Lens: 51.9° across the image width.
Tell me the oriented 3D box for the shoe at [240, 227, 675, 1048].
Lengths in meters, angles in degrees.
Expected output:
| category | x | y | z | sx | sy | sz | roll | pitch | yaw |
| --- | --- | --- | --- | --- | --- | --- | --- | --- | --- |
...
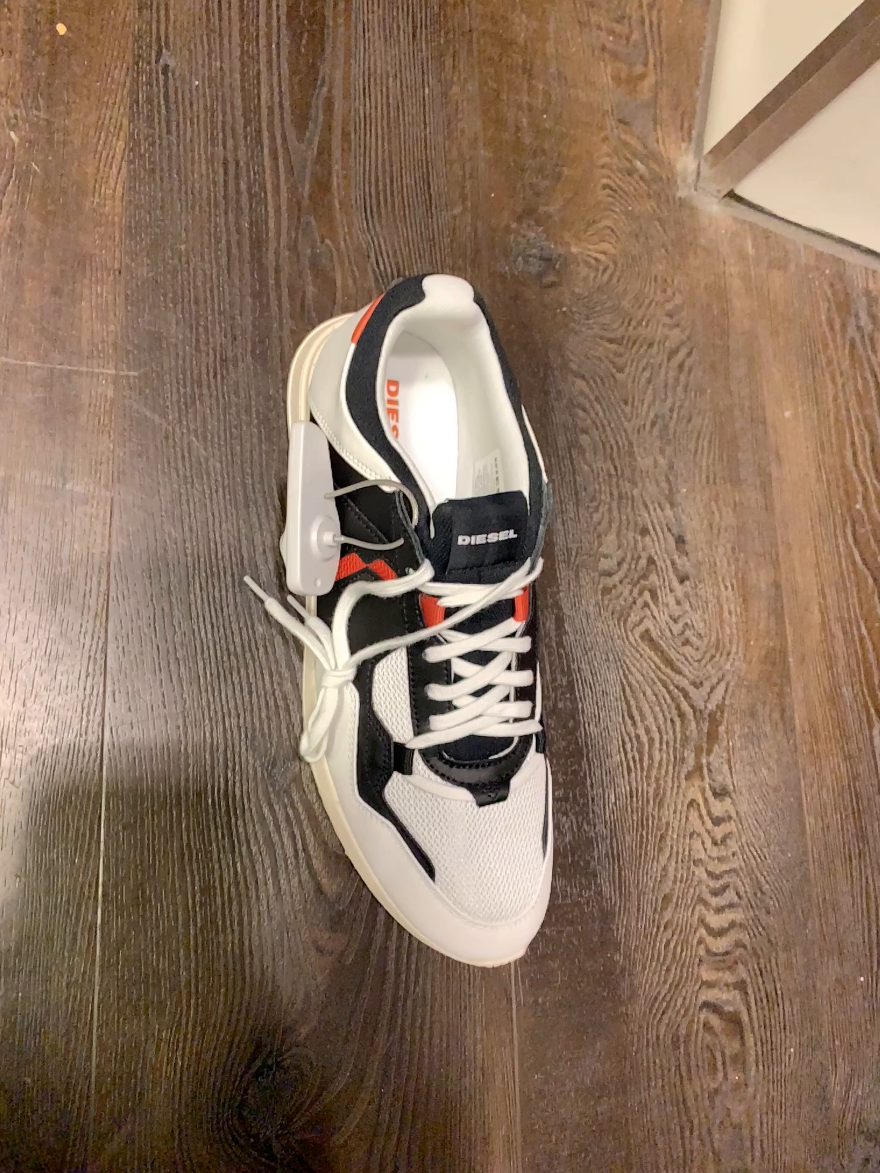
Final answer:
| category | x | y | z | sx | sy | sz | roll | pitch | yaw |
| --- | --- | --- | --- | --- | --- | --- | --- | --- | --- |
| shoe | -0.004 | 0.014 | 0.398 | 0.110 | 0.110 | 0.300 | -6 | 82 | -23 |
